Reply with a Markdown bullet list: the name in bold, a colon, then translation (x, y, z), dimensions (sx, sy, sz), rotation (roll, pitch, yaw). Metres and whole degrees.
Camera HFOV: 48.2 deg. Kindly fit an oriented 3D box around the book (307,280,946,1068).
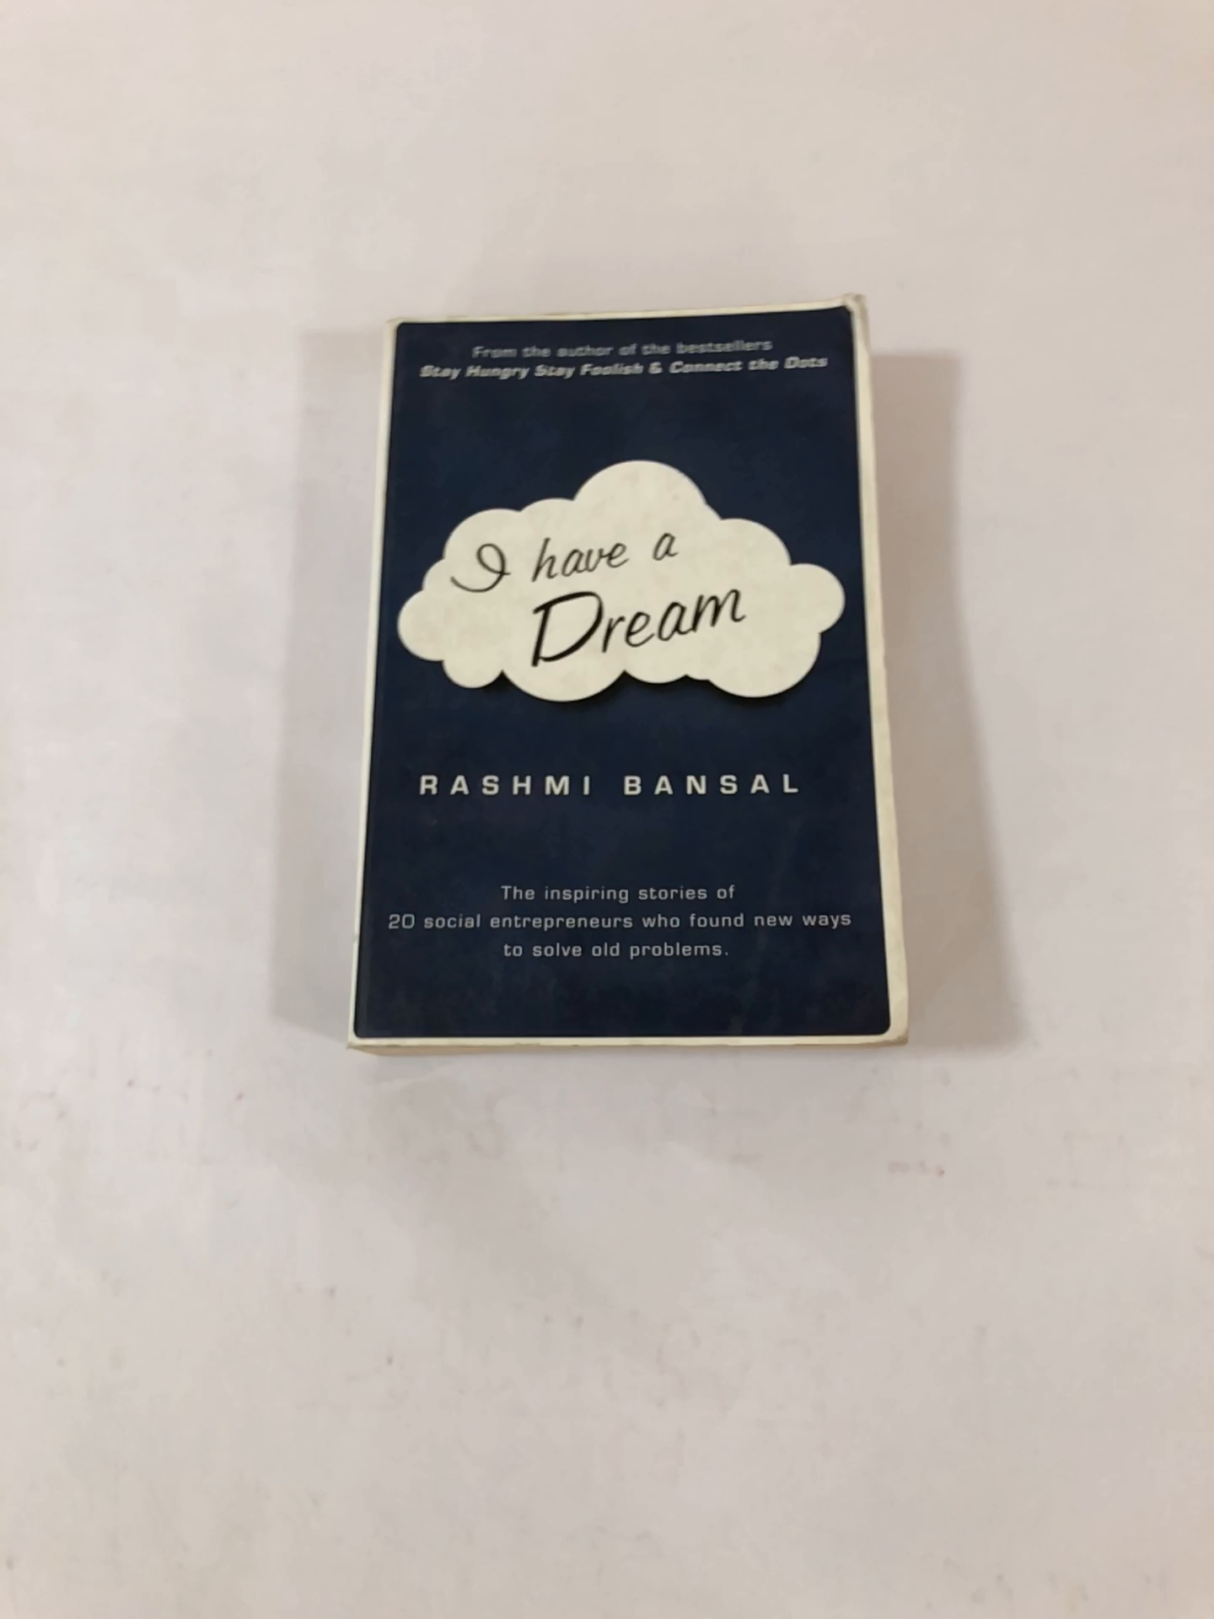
- **book**: translation (0.004, -0.038, 0.342), dimensions (0.140, 0.030, 0.200), rotation (-1, 73, 1)
